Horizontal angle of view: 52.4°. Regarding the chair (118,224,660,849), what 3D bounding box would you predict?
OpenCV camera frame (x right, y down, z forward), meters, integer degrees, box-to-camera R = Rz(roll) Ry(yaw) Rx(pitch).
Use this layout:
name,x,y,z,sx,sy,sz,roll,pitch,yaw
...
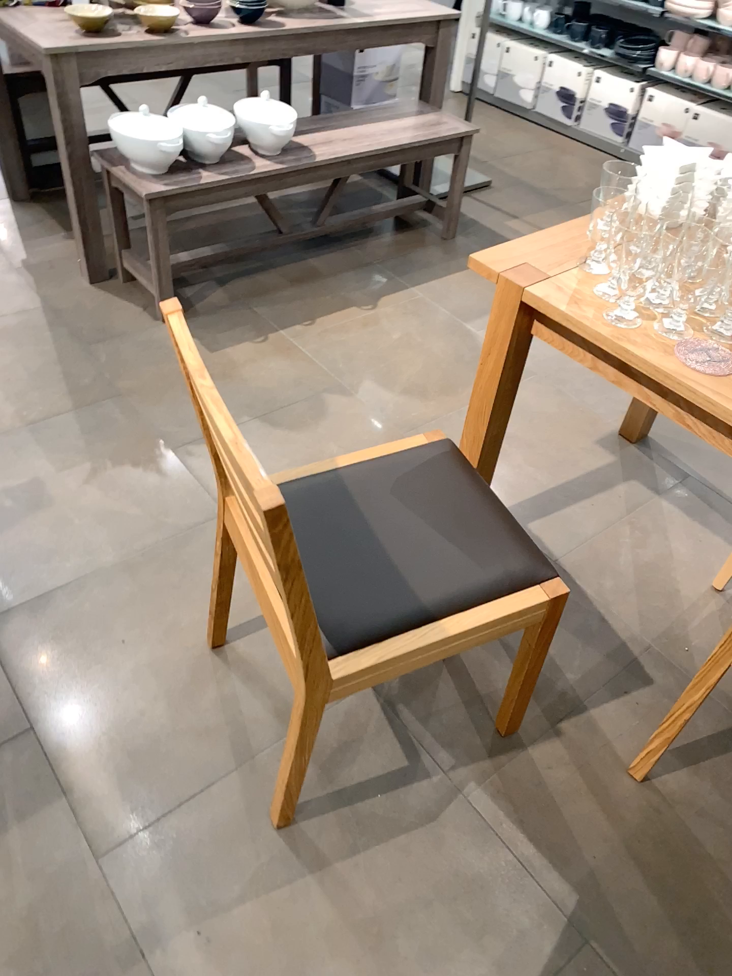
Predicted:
name,x,y,z,sx,sy,sz,roll,pitch,yaw
chair,-0.032,0.080,1.303,0.564,0.815,0.566,-14,46,-21
